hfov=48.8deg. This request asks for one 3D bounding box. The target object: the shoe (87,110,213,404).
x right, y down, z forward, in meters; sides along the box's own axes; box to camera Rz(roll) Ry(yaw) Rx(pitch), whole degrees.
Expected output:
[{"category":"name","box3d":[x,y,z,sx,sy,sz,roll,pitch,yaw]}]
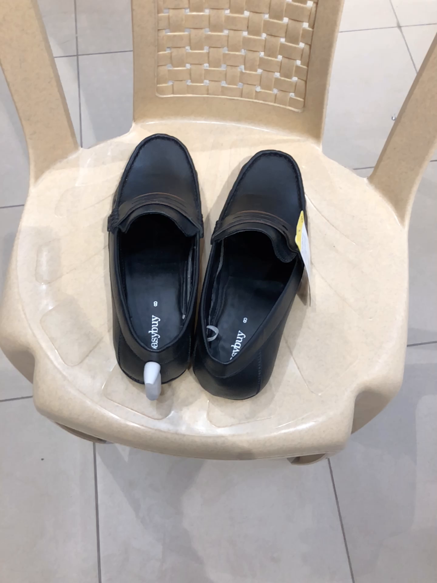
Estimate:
[{"category":"shoe","box3d":[-0.059,-0.036,0.476,0.100,0.088,0.276,-1,69,-1]}]

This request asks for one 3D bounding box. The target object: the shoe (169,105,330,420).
[{"category":"shoe","box3d":[0.035,-0.032,0.470,0.100,0.088,0.283,10,70,3]}]
